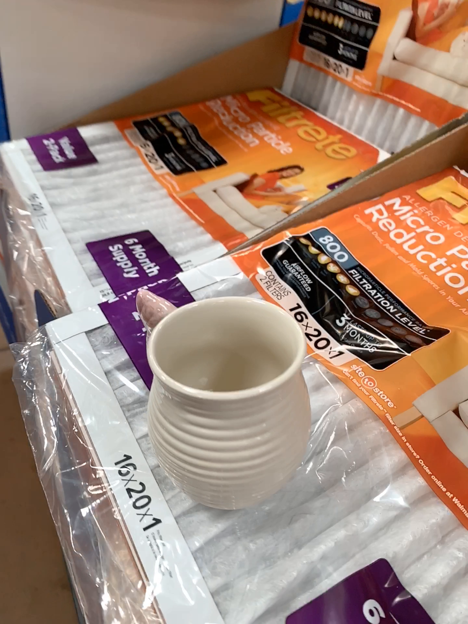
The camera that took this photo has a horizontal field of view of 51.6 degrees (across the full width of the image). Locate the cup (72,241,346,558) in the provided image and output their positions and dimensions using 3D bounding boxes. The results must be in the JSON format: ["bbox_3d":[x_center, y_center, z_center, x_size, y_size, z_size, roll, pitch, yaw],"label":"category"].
[{"bbox_3d":[-0.022,0.039,0.292,0.100,0.089,0.141,-18,41,-21],"label":"cup"}]
